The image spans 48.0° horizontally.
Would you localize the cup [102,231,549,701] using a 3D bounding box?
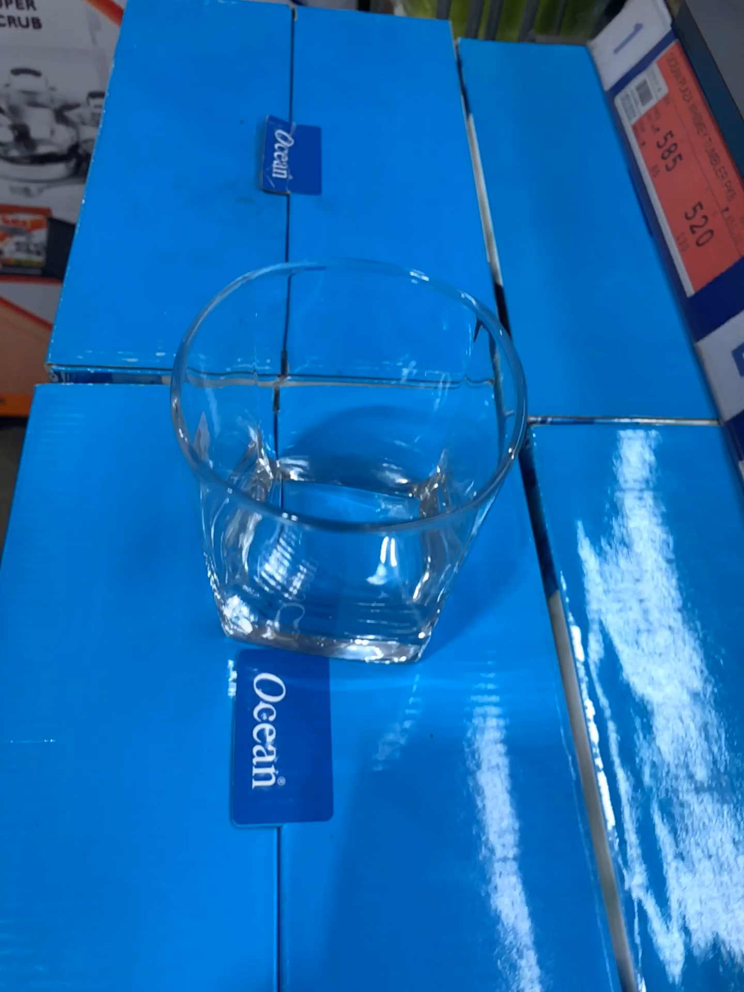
[{"bbox_3d":[-0.010,-0.005,0.227,0.090,0.080,0.090,3,56,-4],"label":"cup"}]
